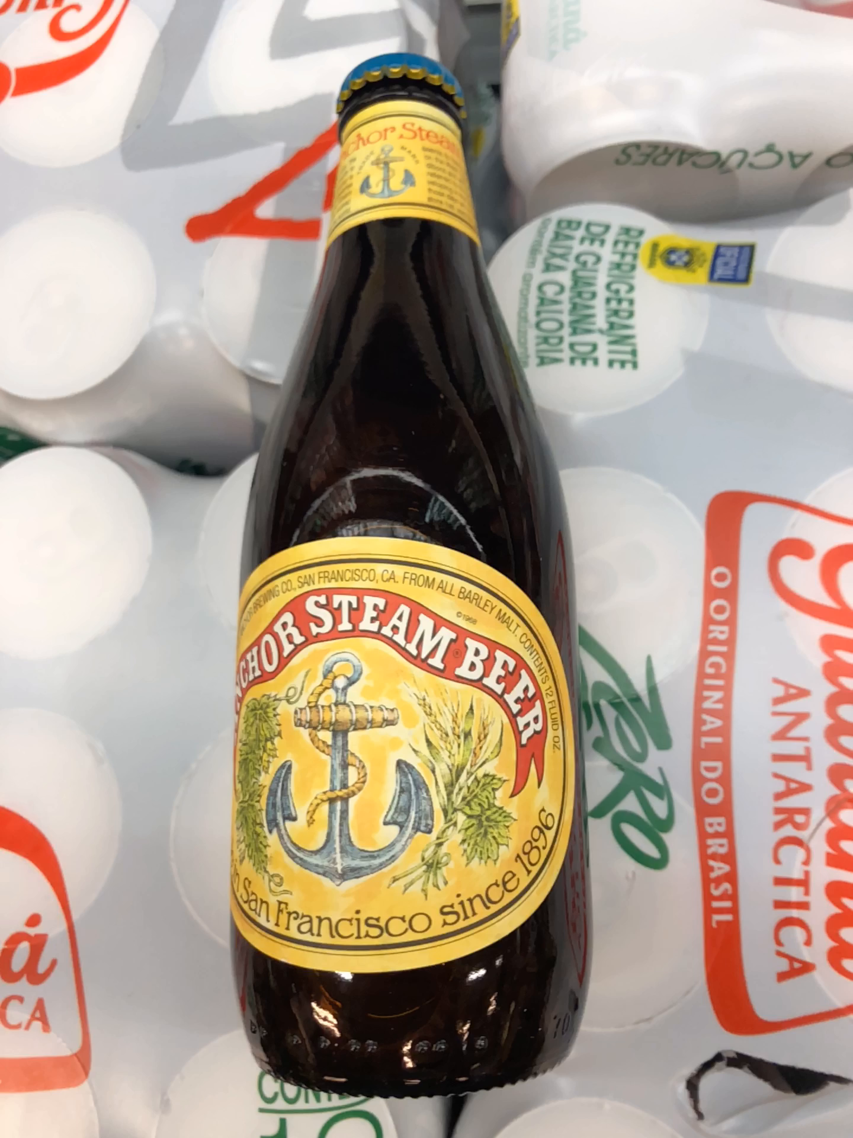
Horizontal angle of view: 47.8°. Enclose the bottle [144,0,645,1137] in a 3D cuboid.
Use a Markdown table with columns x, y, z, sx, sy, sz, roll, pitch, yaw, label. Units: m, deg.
| x | y | z | sx | sy | sz | roll | pitch | yaw | label |
| --- | --- | --- | --- | --- | --- | --- | --- | --- | --- |
| -0.005 | -0.019 | 0.182 | 0.070 | 0.060 | 0.220 | -4 | 79 | 9 | bottle |
